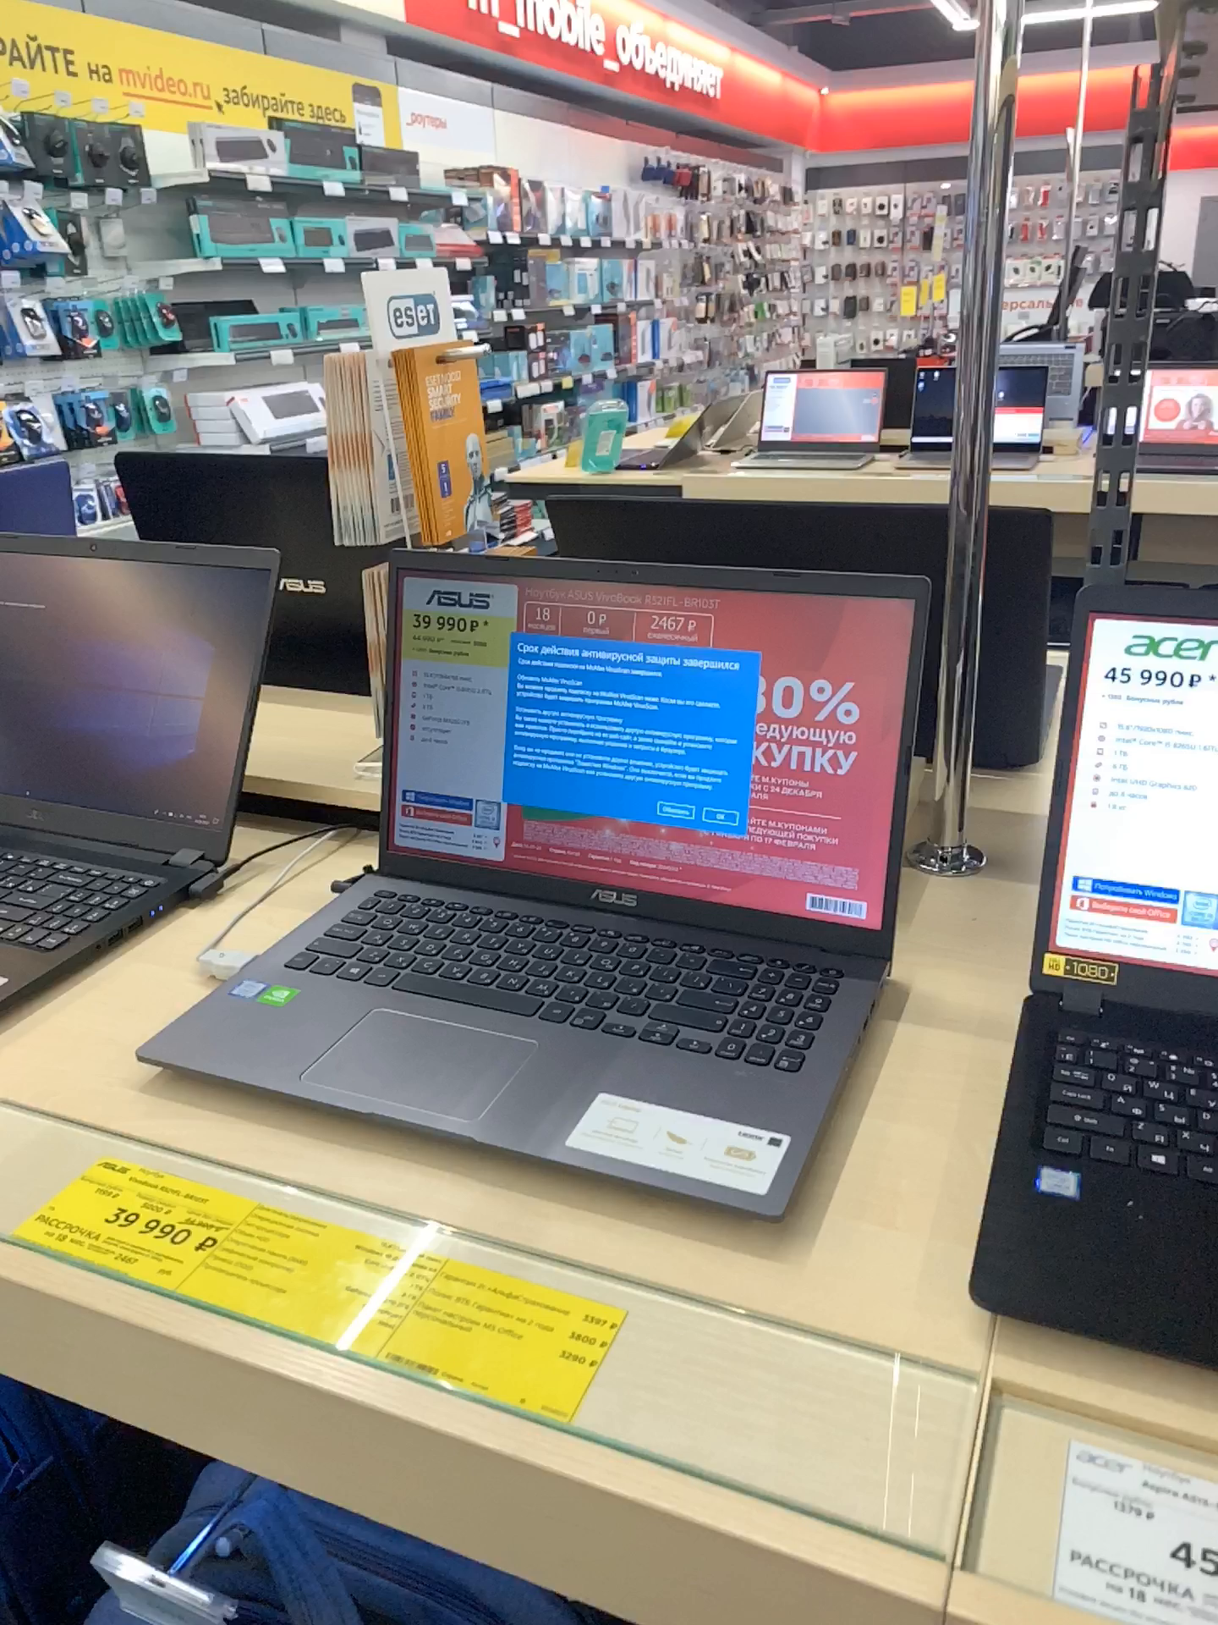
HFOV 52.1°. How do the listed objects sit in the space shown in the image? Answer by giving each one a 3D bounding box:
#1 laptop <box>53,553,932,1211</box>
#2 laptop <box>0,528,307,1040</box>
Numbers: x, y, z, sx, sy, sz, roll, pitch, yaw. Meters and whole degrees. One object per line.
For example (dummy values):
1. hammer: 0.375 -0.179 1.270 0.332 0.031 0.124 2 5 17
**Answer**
1. laptop: -0.038 -0.002 0.700 0.366 0.217 0.298 7 24 22
2. laptop: -0.484 -0.056 0.884 0.350 0.214 0.362 8 24 22
